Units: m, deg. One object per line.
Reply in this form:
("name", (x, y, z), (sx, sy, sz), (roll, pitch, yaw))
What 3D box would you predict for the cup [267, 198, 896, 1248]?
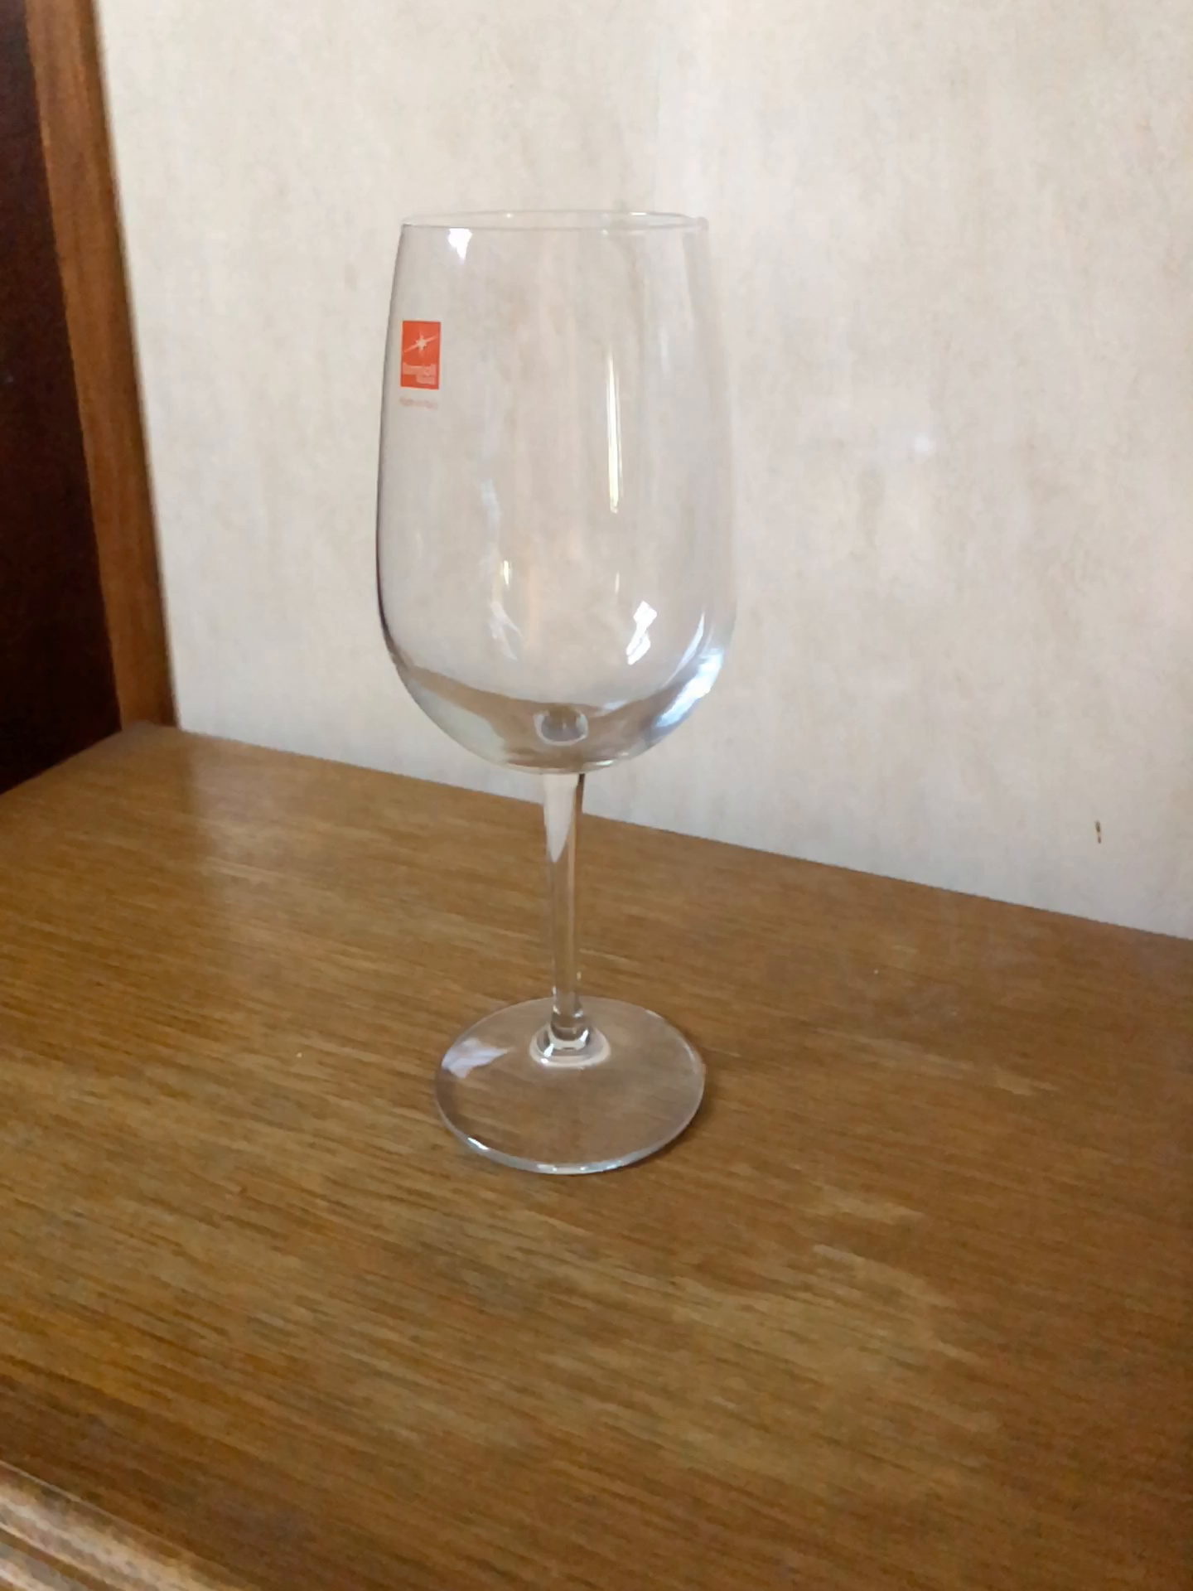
("cup", (-0.005, -0.023, 0.332), (0.101, 0.229, 0.090), (-21, 33, -39))
